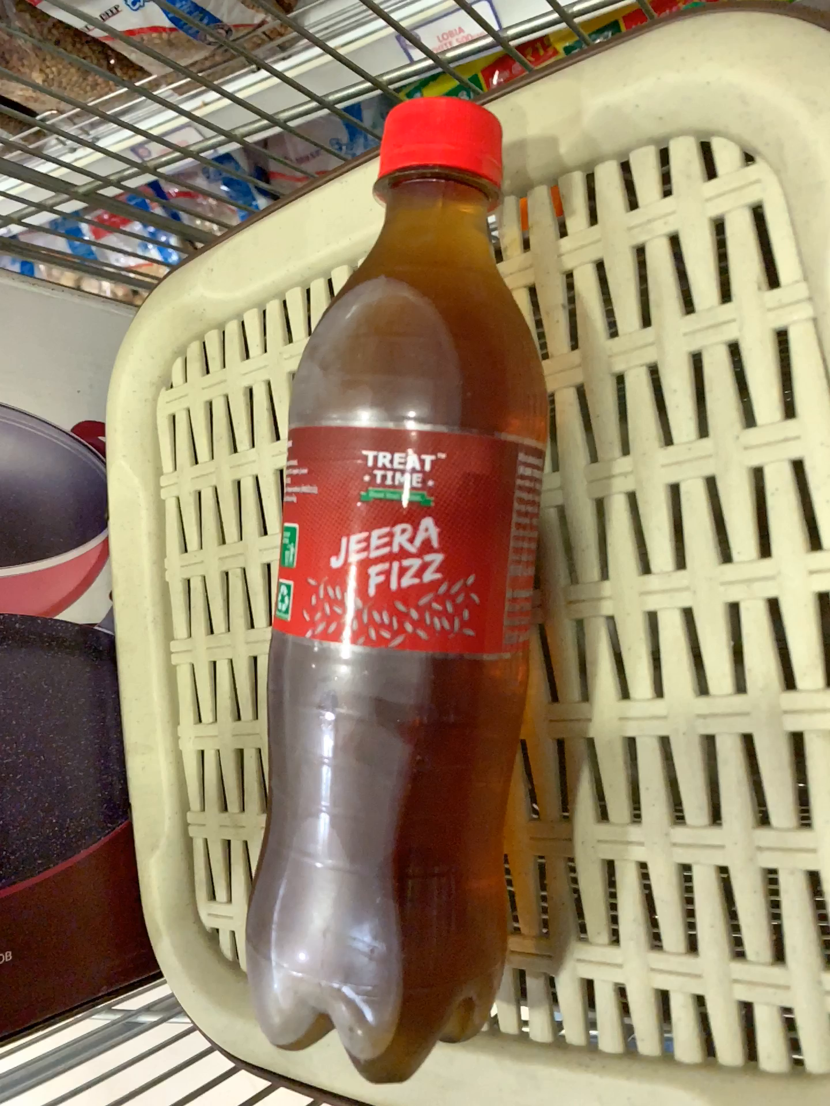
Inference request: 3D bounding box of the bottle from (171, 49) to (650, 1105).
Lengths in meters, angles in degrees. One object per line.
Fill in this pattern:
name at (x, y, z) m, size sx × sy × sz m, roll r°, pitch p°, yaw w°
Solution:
bottle at (0.002, 0.006, 0.219) m, size 0.080 × 0.070 × 0.230 m, roll 6°, pitch 90°, yaw 9°
